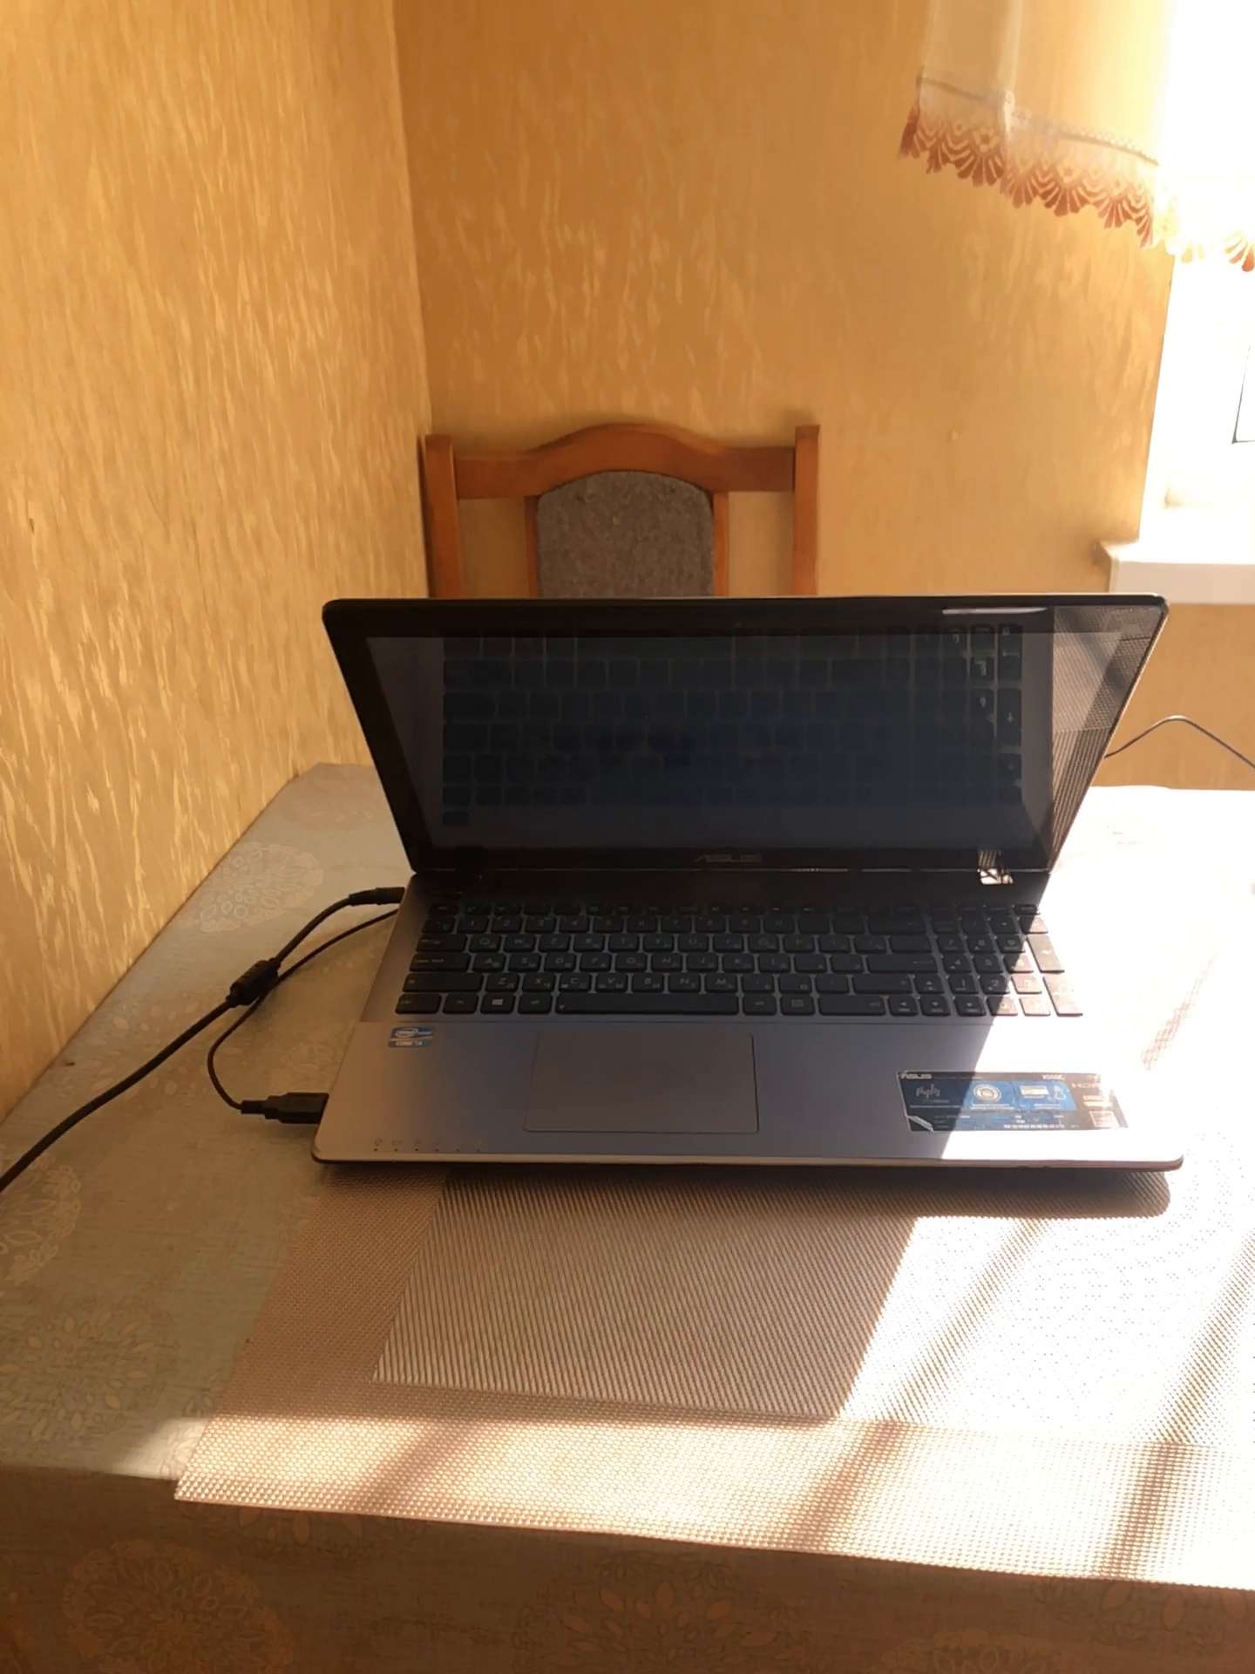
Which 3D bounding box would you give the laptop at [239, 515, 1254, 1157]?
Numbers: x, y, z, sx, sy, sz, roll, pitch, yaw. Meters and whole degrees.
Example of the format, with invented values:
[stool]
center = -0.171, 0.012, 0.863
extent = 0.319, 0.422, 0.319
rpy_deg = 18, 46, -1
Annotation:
[laptop]
center = 0.049, -0.014, 0.633
extent = 0.362, 0.200, 0.245
rpy_deg = -1, 26, 3
